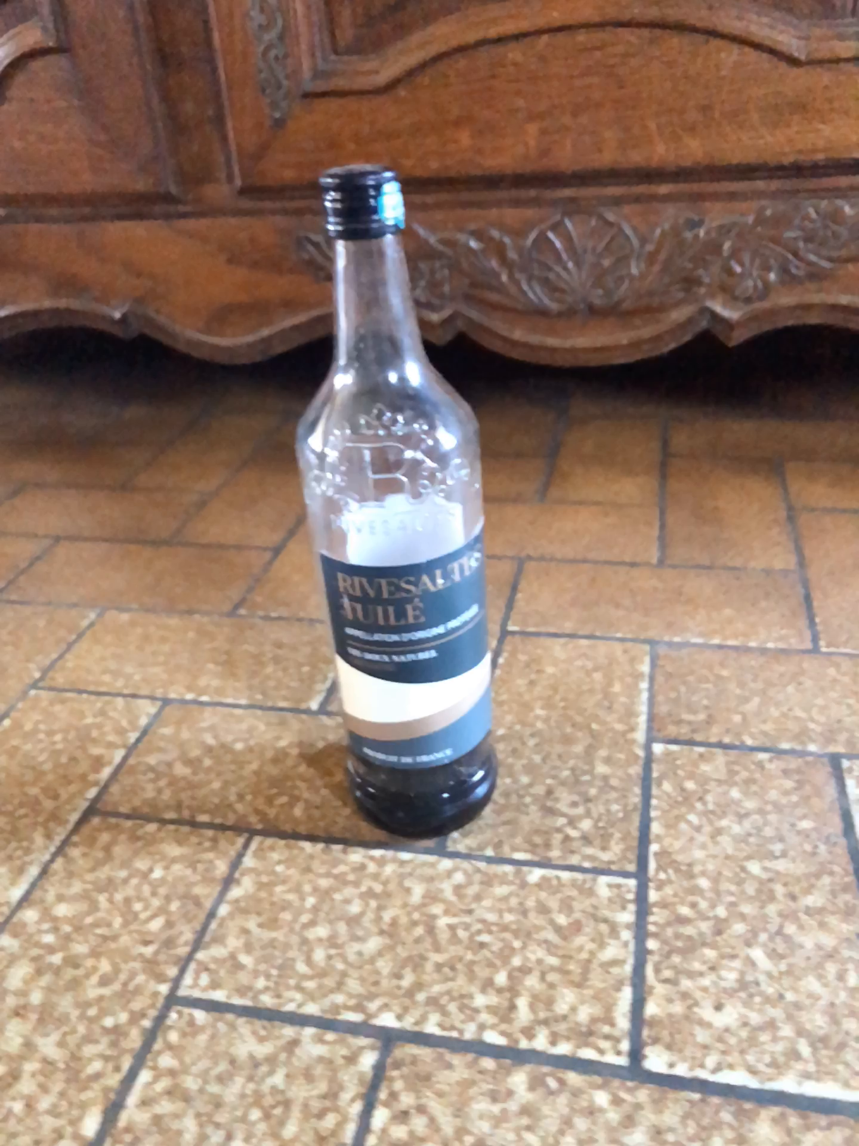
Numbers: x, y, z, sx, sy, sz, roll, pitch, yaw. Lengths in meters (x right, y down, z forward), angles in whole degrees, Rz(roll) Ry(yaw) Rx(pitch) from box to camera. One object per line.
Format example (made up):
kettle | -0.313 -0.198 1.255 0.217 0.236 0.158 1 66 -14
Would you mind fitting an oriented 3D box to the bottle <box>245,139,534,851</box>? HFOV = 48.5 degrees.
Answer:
bottle | -0.009 -0.023 0.426 0.090 0.298 0.090 -4 30 2
